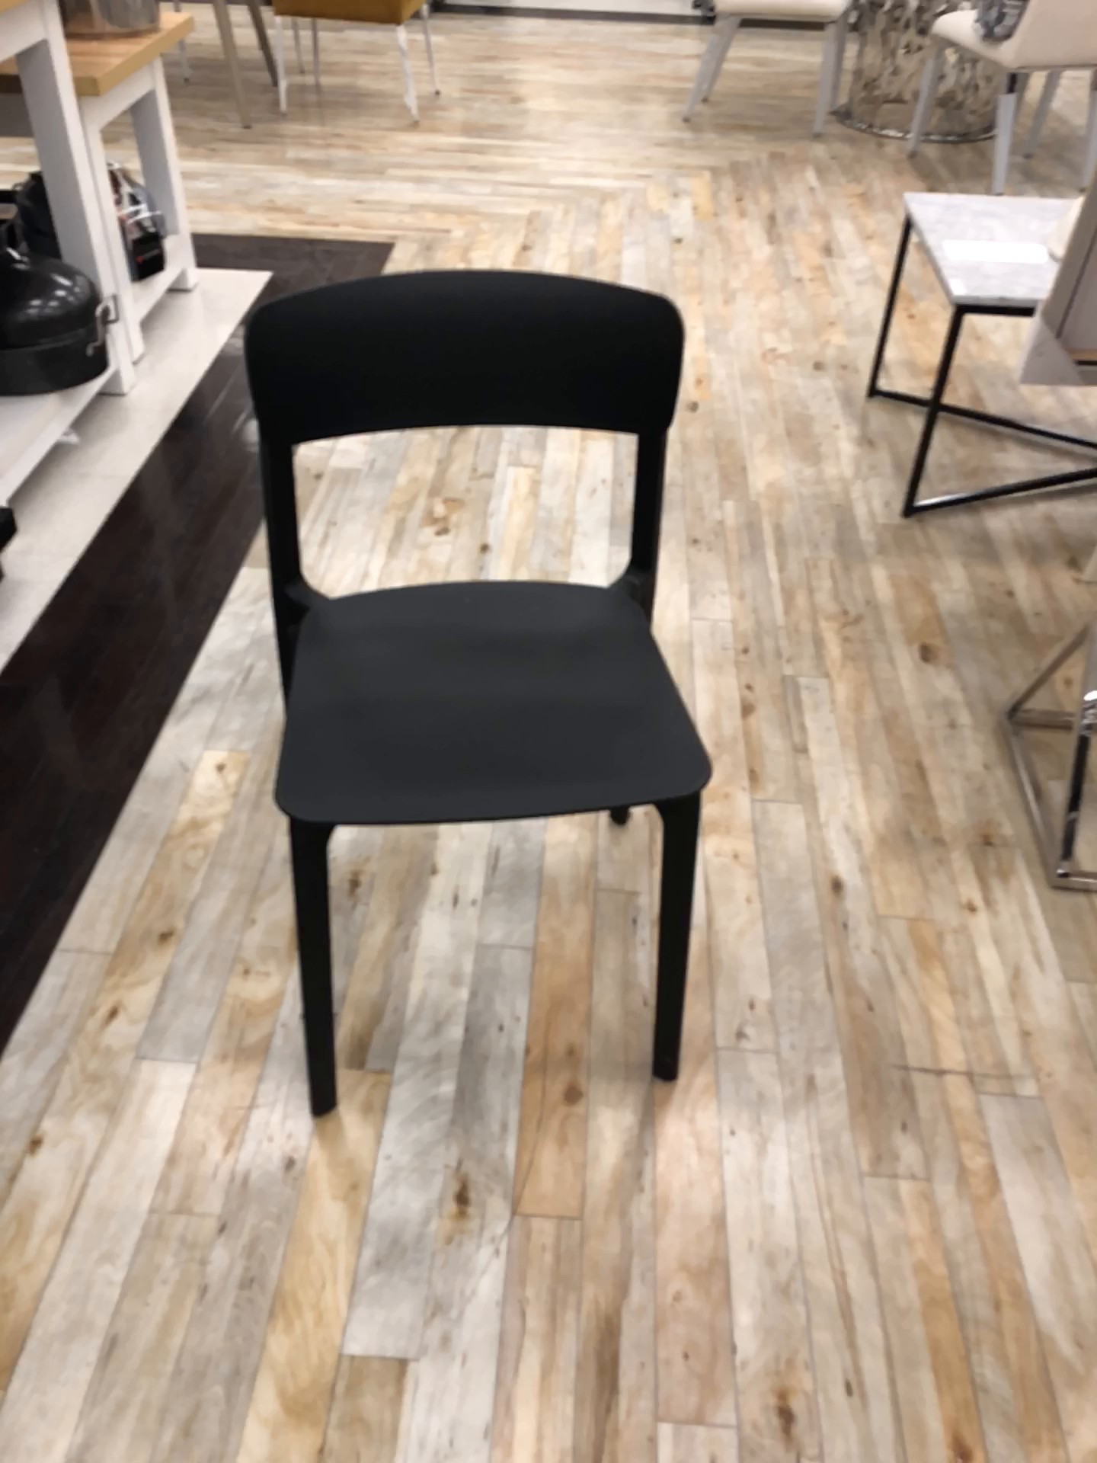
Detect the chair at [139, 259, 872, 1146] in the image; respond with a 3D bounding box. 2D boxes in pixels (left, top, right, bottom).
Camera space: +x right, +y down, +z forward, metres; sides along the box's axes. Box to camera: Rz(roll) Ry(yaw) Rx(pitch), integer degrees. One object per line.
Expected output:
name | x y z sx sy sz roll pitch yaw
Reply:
chair | -0.066 -0.035 1.241 0.500 0.707 0.542 -4 40 -7
